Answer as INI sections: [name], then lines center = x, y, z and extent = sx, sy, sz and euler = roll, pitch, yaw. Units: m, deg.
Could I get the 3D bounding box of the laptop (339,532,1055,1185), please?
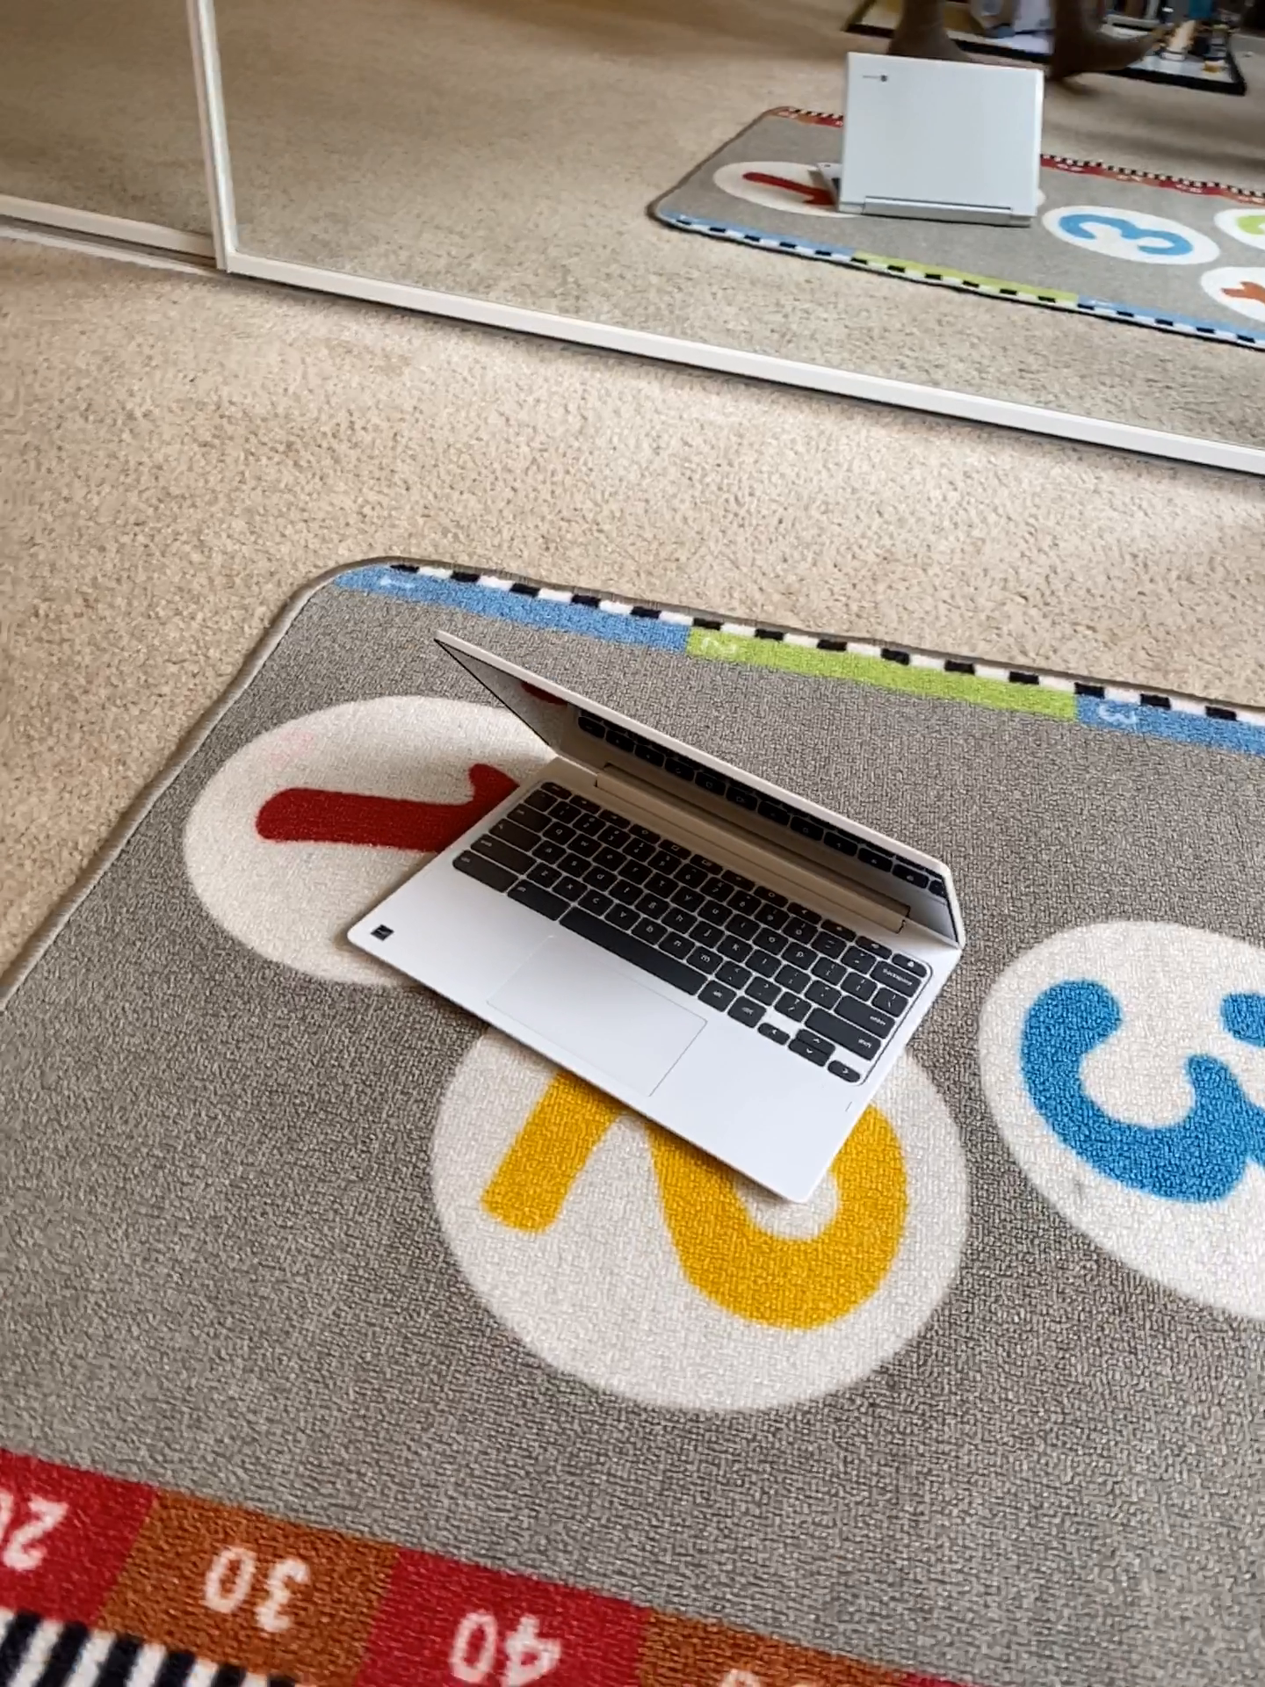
[laptop]
center = 0.031, -0.009, 0.703
extent = 0.294, 0.164, 0.217
euler = 27, 44, 20
